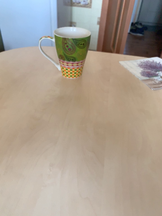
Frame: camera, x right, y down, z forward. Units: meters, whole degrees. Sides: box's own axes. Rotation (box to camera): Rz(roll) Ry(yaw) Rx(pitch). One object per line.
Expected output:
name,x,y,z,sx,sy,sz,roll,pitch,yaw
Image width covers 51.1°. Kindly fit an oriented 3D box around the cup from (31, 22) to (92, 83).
cup,-0.042,-0.145,0.440,0.130,0.109,0.111,4,40,-1
